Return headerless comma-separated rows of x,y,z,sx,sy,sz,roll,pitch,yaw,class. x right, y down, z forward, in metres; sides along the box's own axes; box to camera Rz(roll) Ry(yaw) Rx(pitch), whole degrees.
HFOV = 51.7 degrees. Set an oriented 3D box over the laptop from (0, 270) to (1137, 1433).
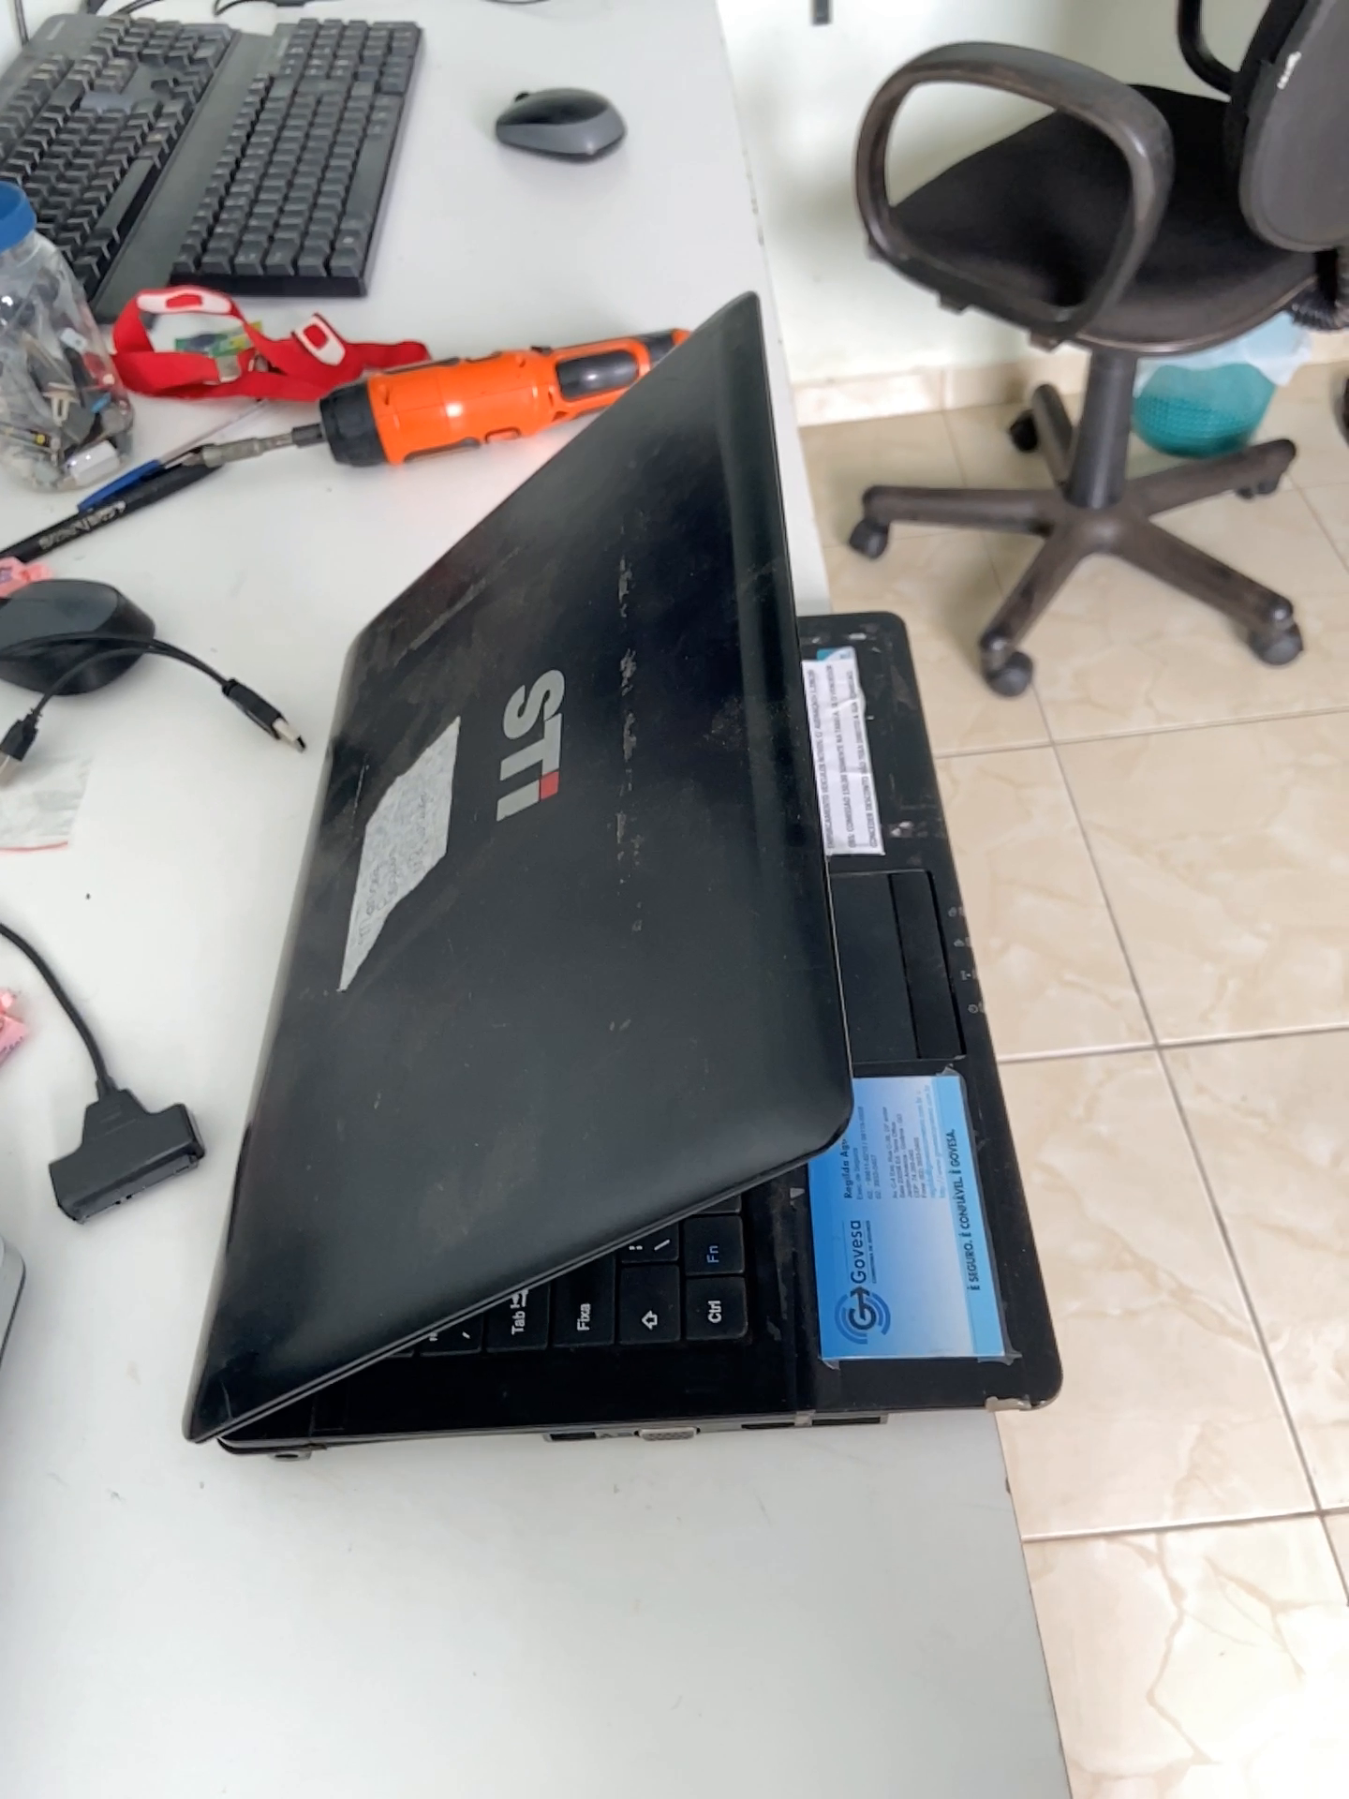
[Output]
-0.020,-0.035,0.436,0.227,0.144,0.337,-4,50,3,laptop
